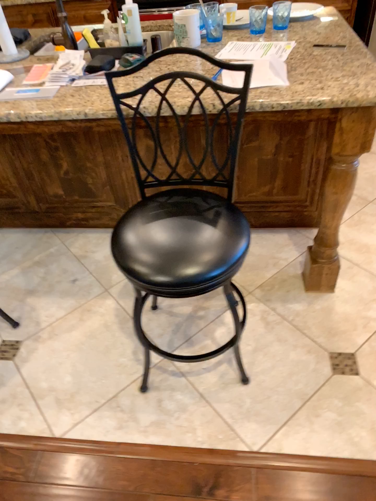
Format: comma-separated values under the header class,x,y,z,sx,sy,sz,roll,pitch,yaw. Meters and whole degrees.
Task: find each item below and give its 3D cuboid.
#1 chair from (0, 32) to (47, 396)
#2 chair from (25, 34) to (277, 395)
class,x,y,z,sx,sy,sz,roll,pitch,yaw
chair,-1.056,-0.057,1.343,0.555,1.098,0.590,2,43,9
chair,-0.020,-0.025,1.249,0.467,1.068,0.507,-2,43,5
